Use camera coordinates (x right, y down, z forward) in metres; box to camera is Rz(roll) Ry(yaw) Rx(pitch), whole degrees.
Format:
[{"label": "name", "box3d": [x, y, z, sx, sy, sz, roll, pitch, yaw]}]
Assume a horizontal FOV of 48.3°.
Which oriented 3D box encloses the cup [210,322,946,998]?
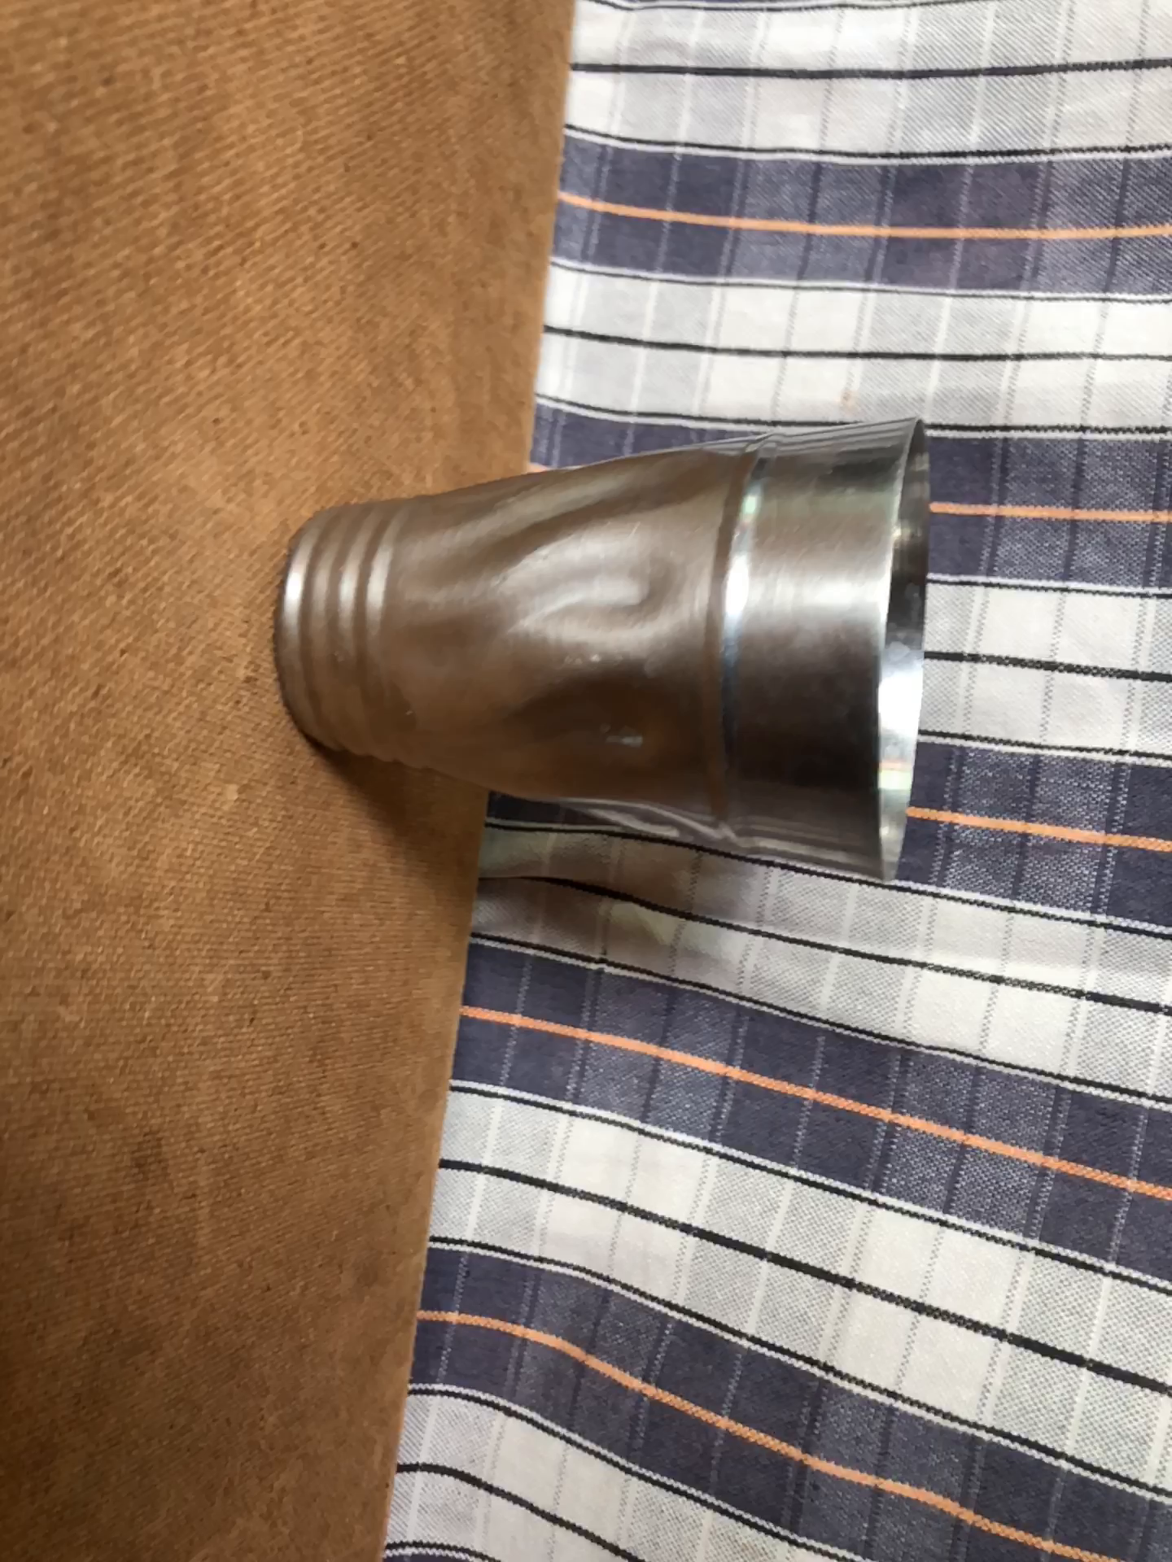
[{"label": "cup", "box3d": [0.009, -0.021, 0.234, 0.080, 0.099, 0.080, 4, 90, -73]}]
